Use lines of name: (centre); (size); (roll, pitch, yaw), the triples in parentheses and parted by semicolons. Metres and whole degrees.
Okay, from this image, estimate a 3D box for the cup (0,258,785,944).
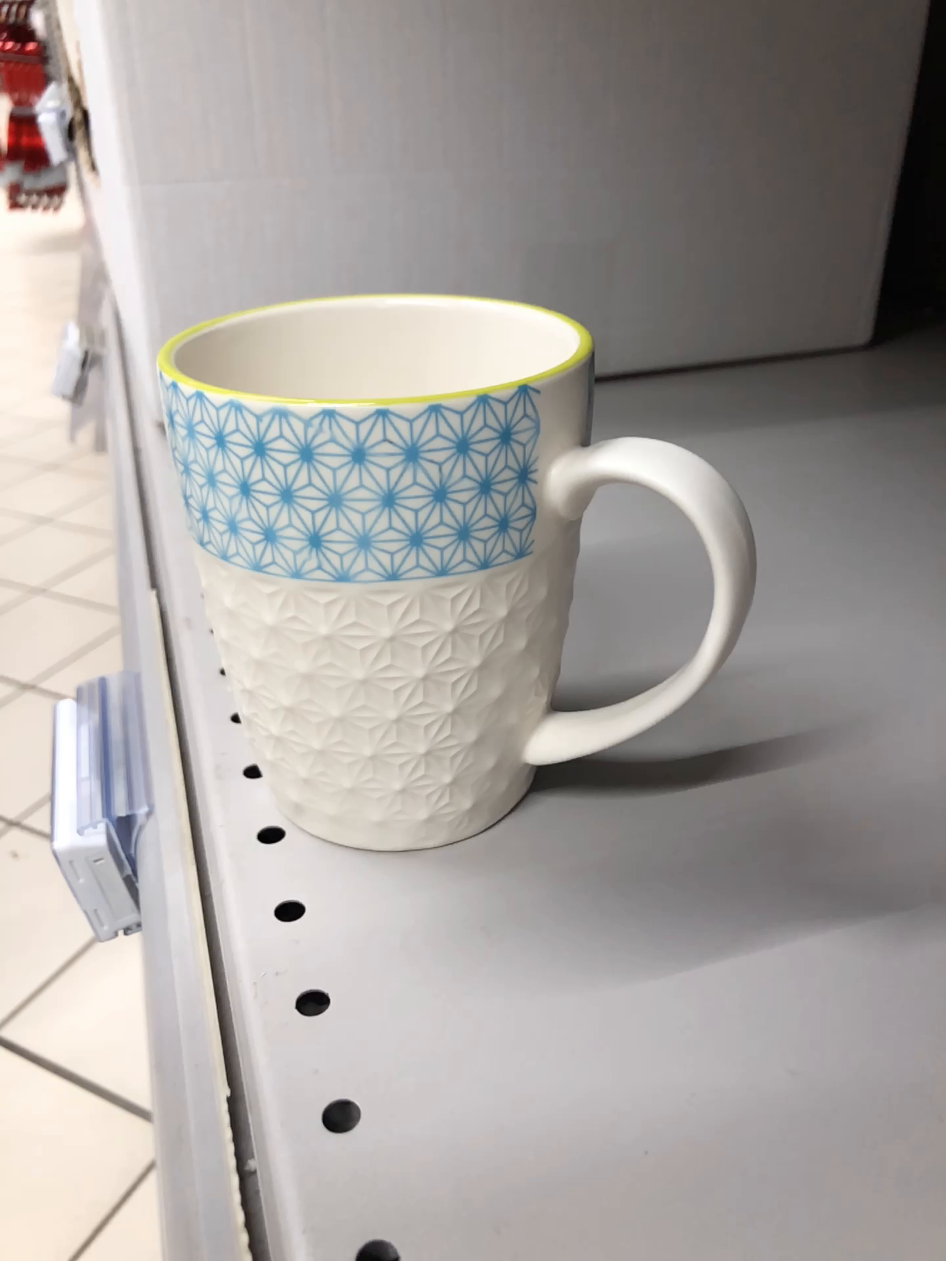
cup: (-0.008, -0.019, 0.218); (0.118, 0.092, 0.099); (9, 31, 20)
